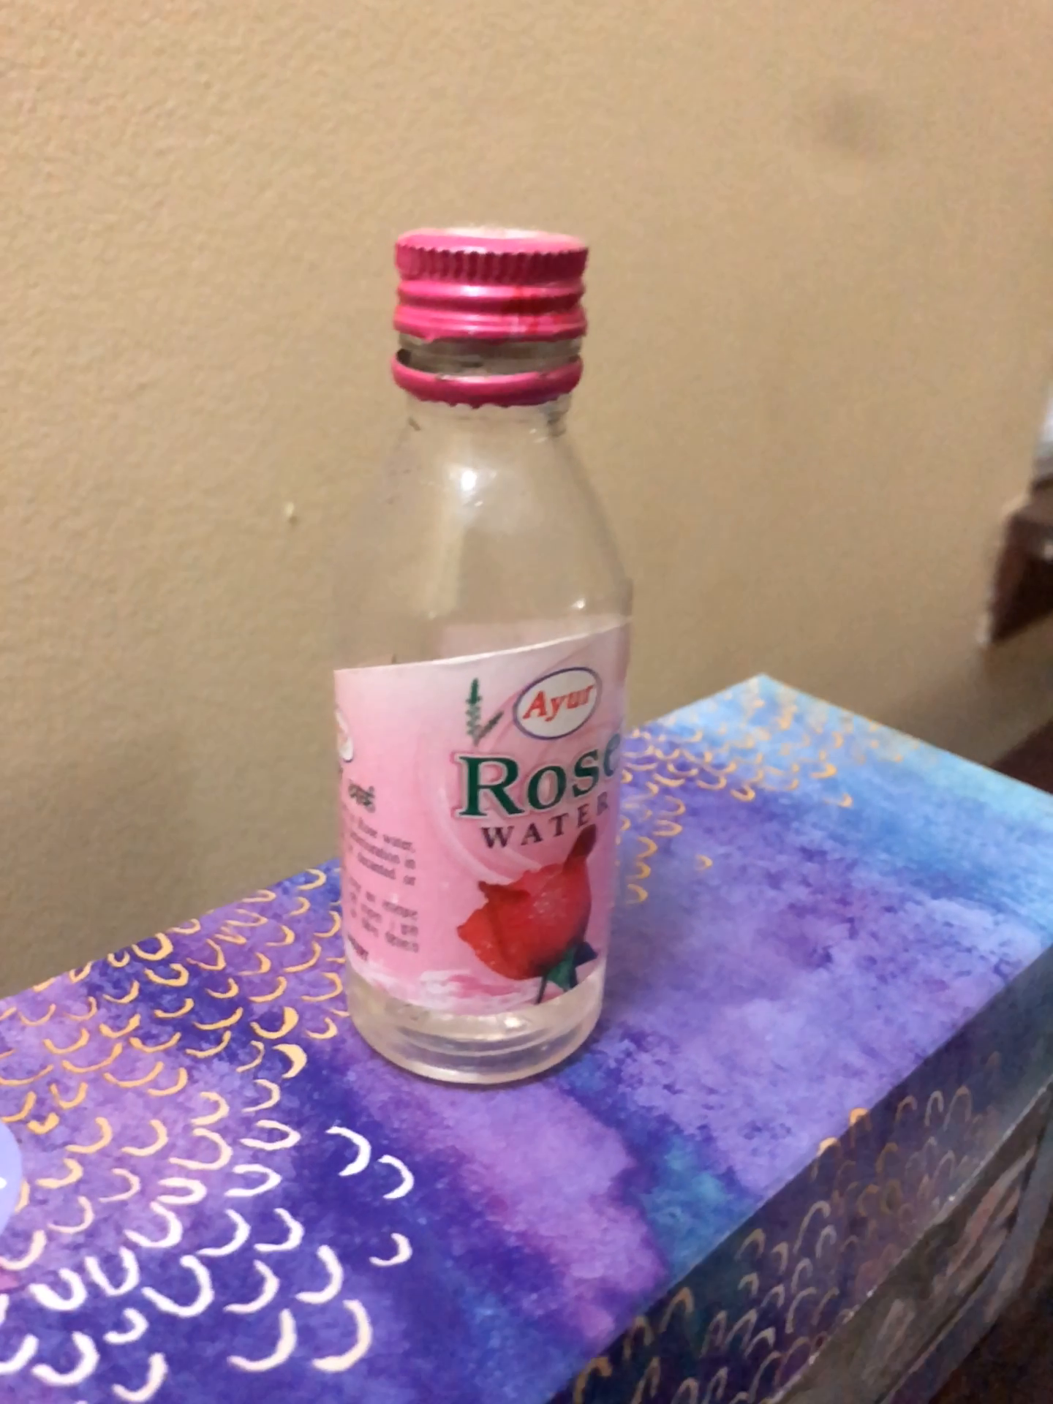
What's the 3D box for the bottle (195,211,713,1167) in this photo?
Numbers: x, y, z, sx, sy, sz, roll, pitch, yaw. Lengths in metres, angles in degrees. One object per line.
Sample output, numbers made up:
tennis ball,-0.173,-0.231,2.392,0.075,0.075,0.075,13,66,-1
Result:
bottle,-0.009,-0.004,0.141,0.040,0.100,0.040,0,23,0
